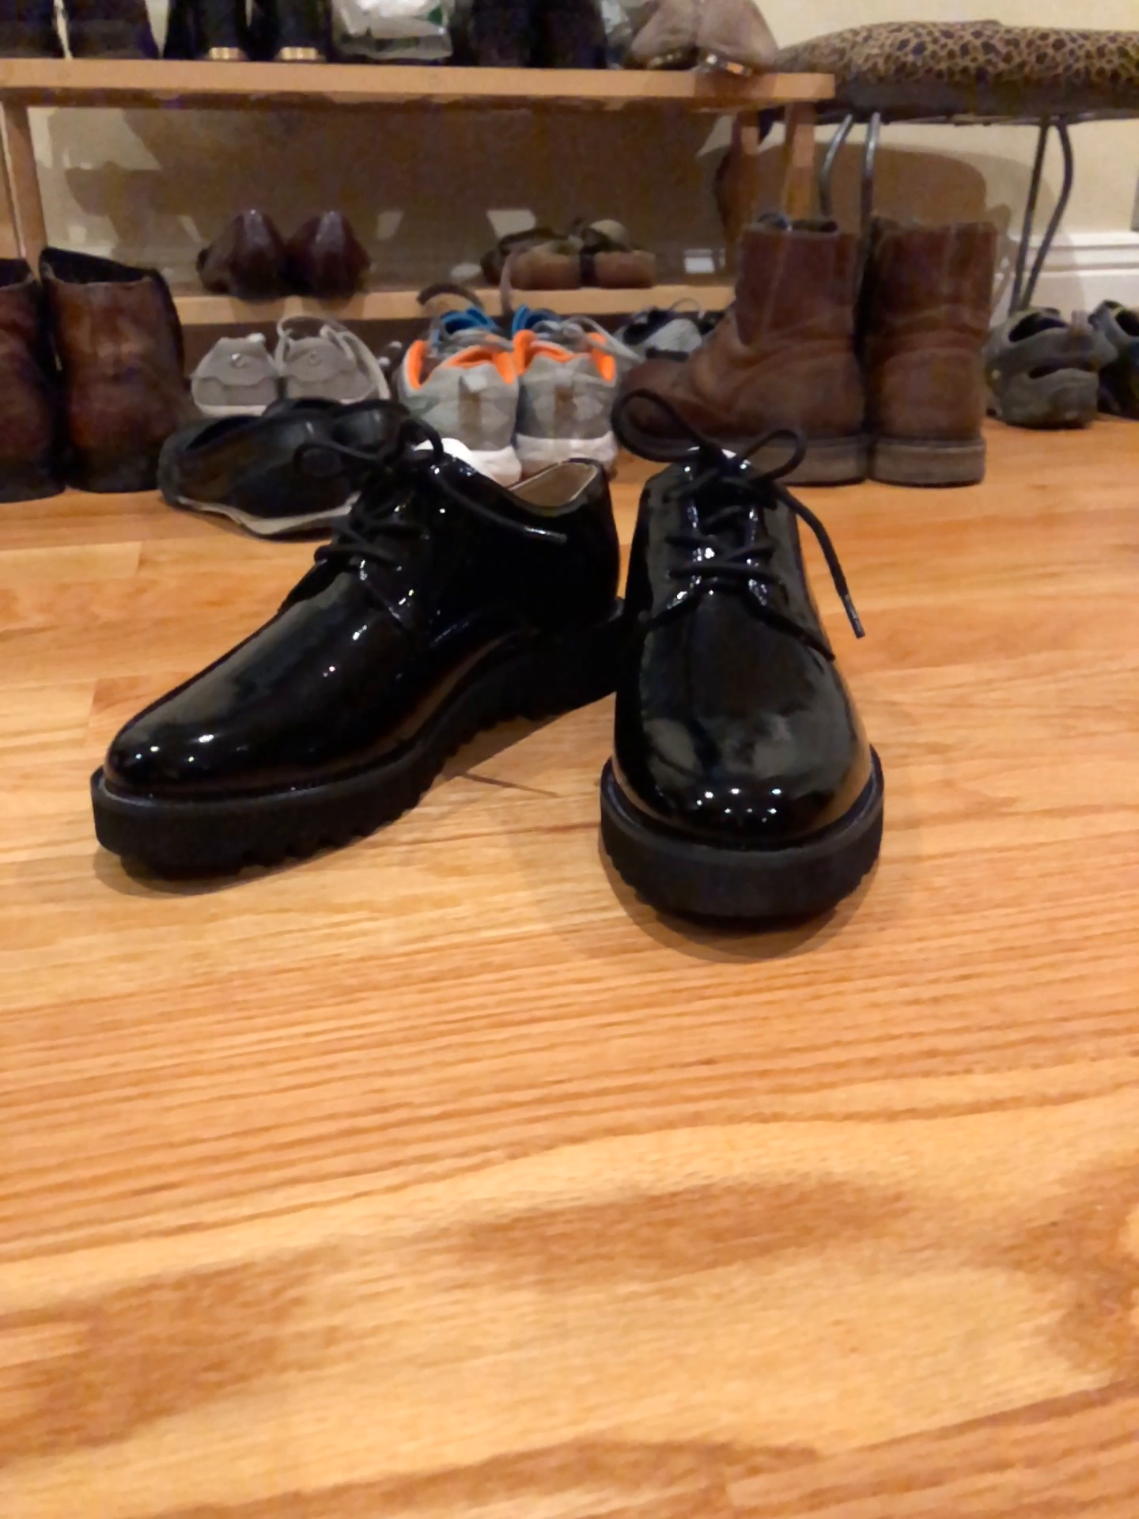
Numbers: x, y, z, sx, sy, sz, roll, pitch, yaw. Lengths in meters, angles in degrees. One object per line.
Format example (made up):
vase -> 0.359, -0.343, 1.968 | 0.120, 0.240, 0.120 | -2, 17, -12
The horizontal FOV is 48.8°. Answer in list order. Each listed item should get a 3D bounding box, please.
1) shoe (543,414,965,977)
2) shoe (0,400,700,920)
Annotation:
shoe -> 0.056, -0.044, 0.419 | 0.095, 0.101, 0.252 | 2, 24, 6
shoe -> -0.065, -0.055, 0.438 | 0.095, 0.101, 0.252 | 17, 29, 35
